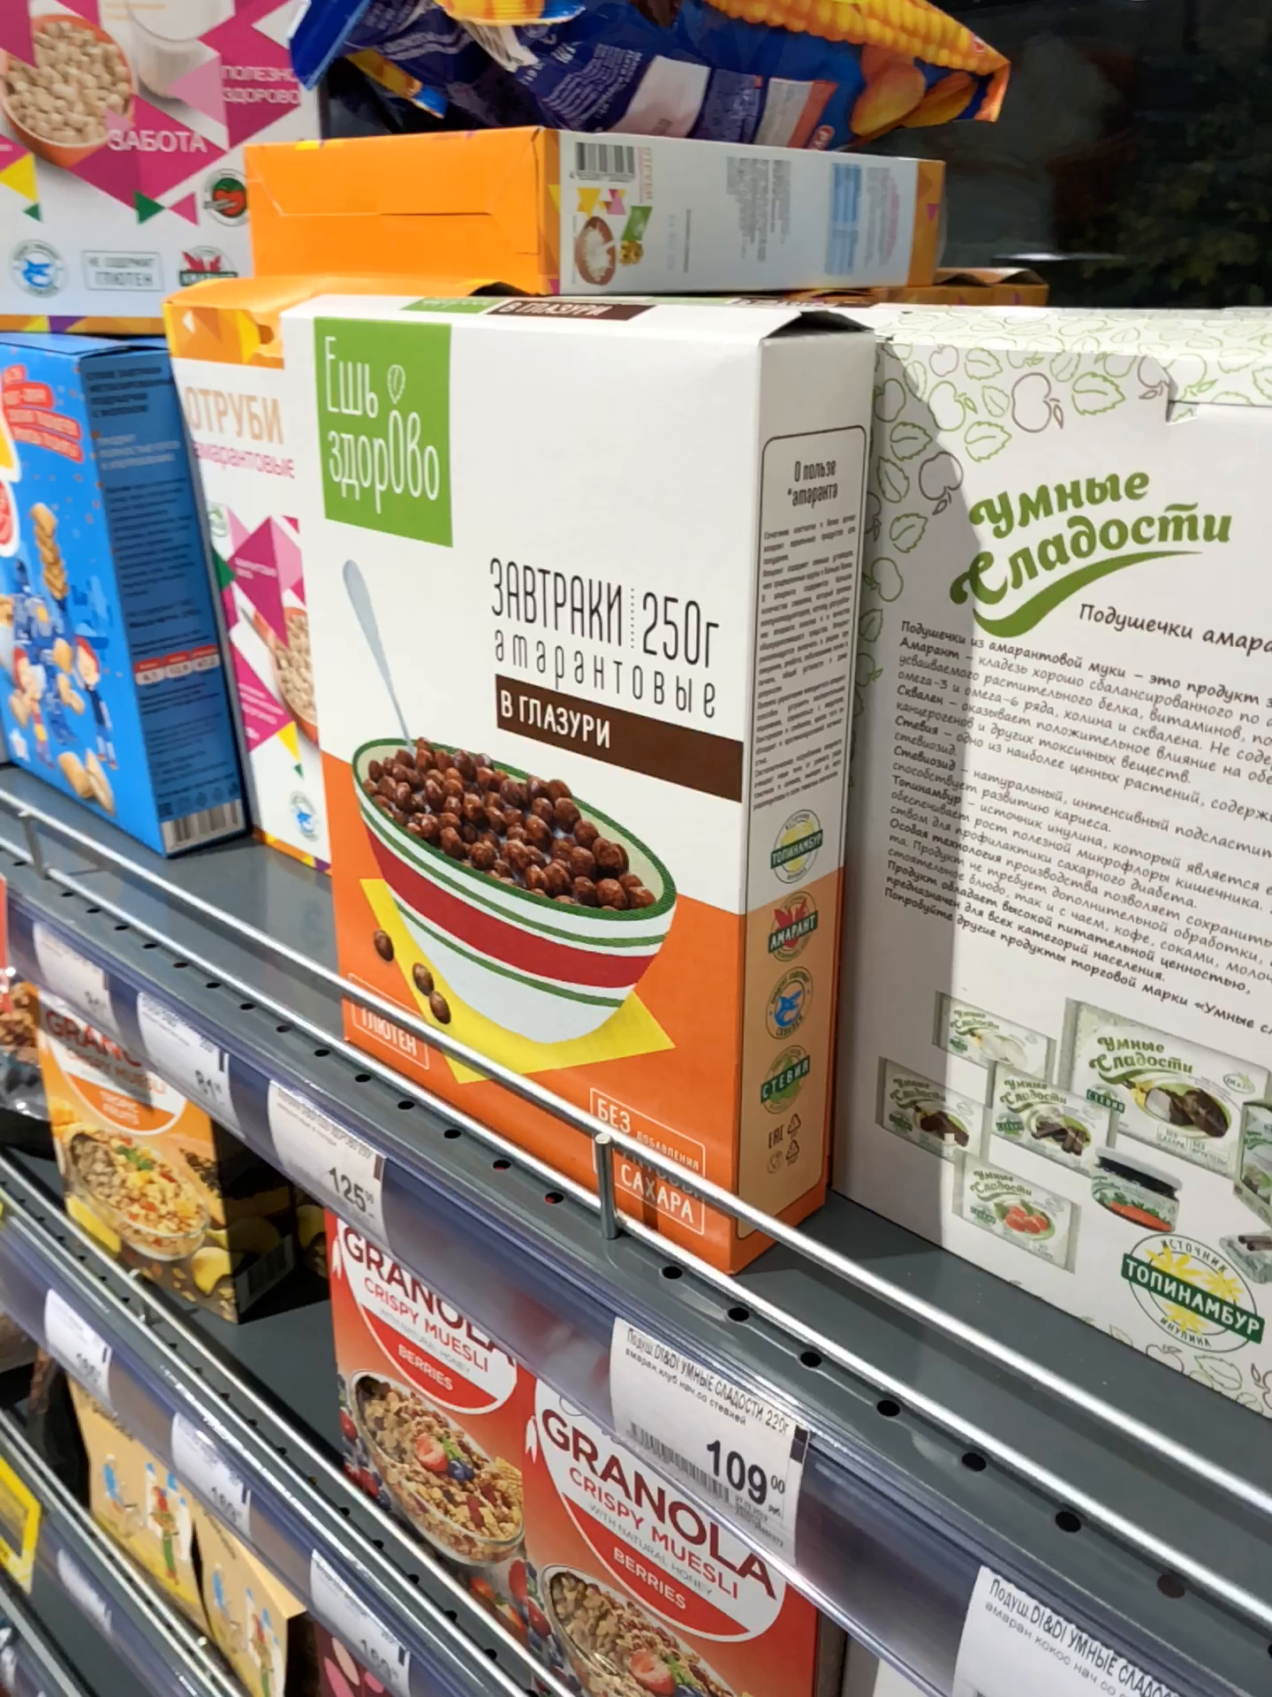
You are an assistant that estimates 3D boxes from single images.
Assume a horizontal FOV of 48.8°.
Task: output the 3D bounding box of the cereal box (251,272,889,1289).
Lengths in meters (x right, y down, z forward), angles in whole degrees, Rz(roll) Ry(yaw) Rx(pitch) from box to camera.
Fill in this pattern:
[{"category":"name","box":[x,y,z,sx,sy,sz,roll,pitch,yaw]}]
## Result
[{"category":"cereal box","box":[-0.026,-0.031,0.416,0.191,0.259,0.050,20,30,40]}]
